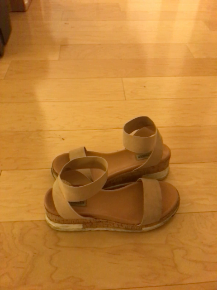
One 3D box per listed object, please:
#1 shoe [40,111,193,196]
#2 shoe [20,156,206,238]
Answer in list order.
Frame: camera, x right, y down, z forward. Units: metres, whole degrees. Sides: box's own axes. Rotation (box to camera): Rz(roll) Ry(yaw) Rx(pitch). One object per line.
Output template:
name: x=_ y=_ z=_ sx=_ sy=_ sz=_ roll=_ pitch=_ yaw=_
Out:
shoe: x=0.010 y=0.016 z=0.483 sx=0.270 sy=0.109 sz=0.101 roll=-6 pitch=48 yaw=-7
shoe: x=0.006 y=0.091 z=0.412 sx=0.270 sy=0.109 sz=0.091 roll=-1 pitch=48 yaw=-3
